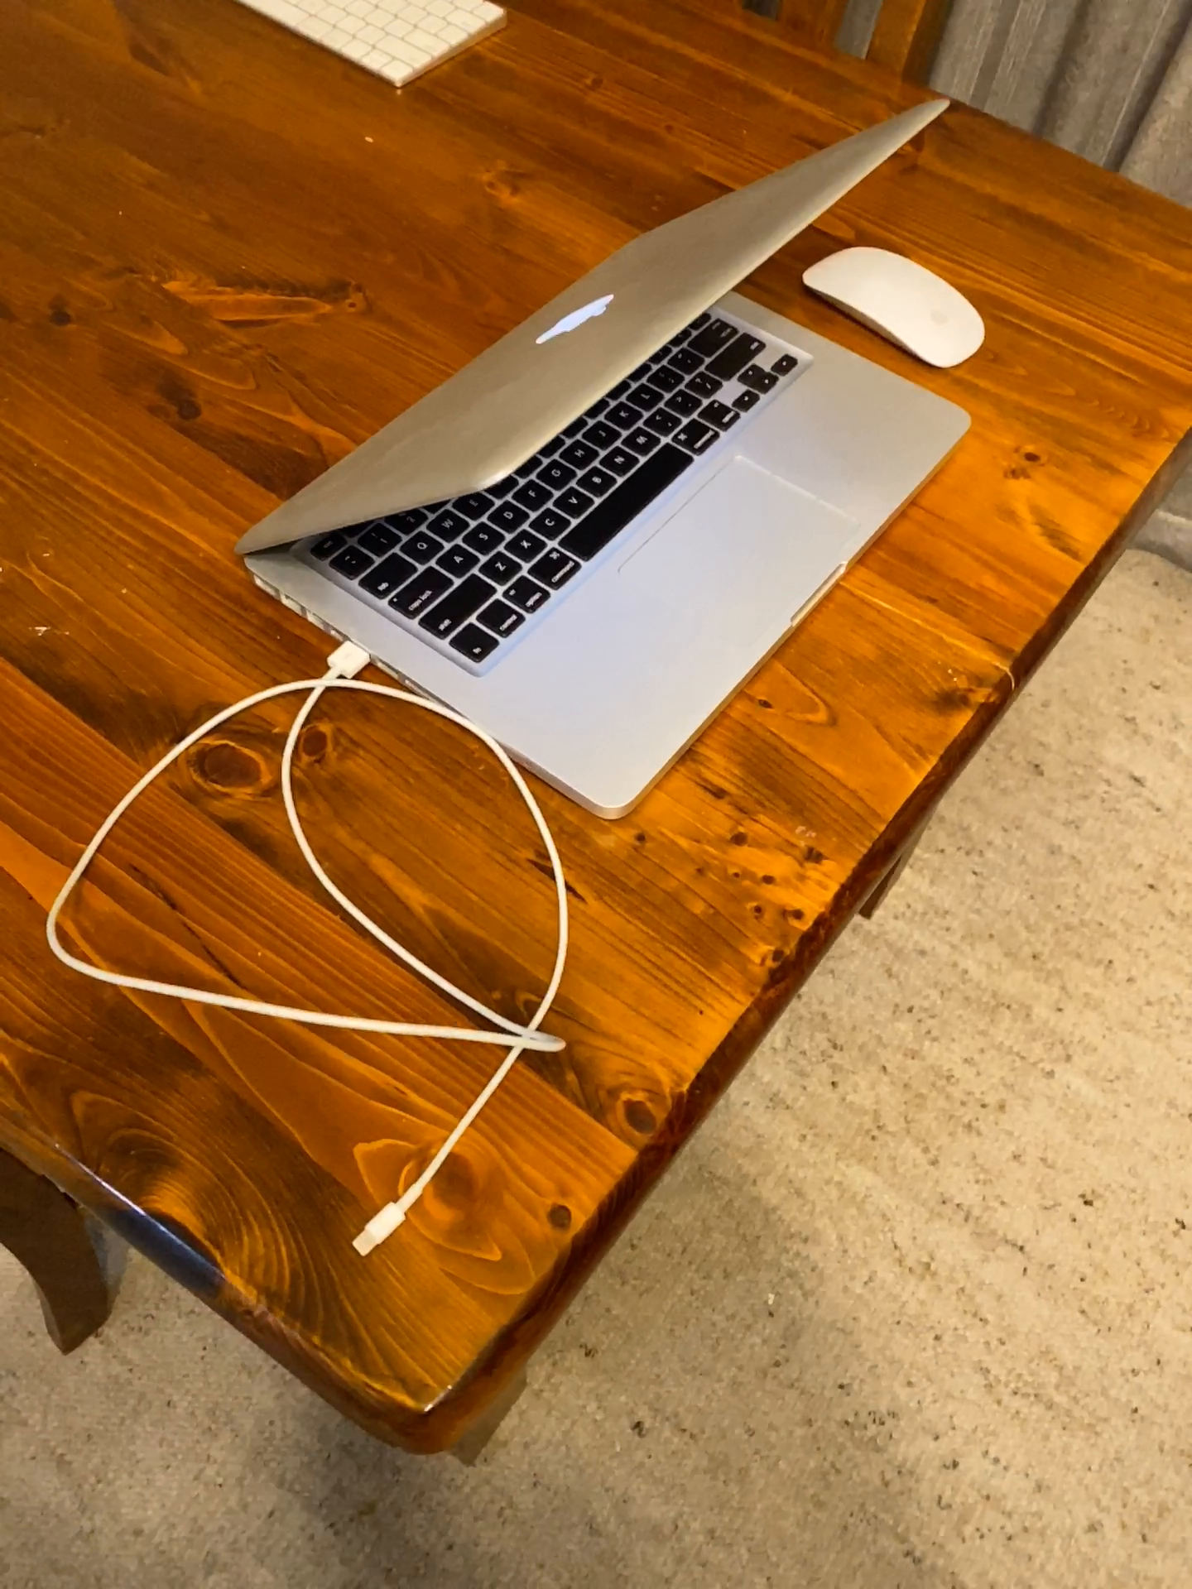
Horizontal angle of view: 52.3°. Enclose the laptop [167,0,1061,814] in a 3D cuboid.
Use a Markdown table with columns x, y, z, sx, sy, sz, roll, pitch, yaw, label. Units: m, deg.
| x | y | z | sx | sy | sz | roll | pitch | yaw | label |
| --- | --- | --- | --- | --- | --- | --- | --- | --- | --- |
| 0.019 | -0.188 | 0.539 | 0.211 | 0.136 | 0.312 | 34 | 62 | 16 | laptop |
